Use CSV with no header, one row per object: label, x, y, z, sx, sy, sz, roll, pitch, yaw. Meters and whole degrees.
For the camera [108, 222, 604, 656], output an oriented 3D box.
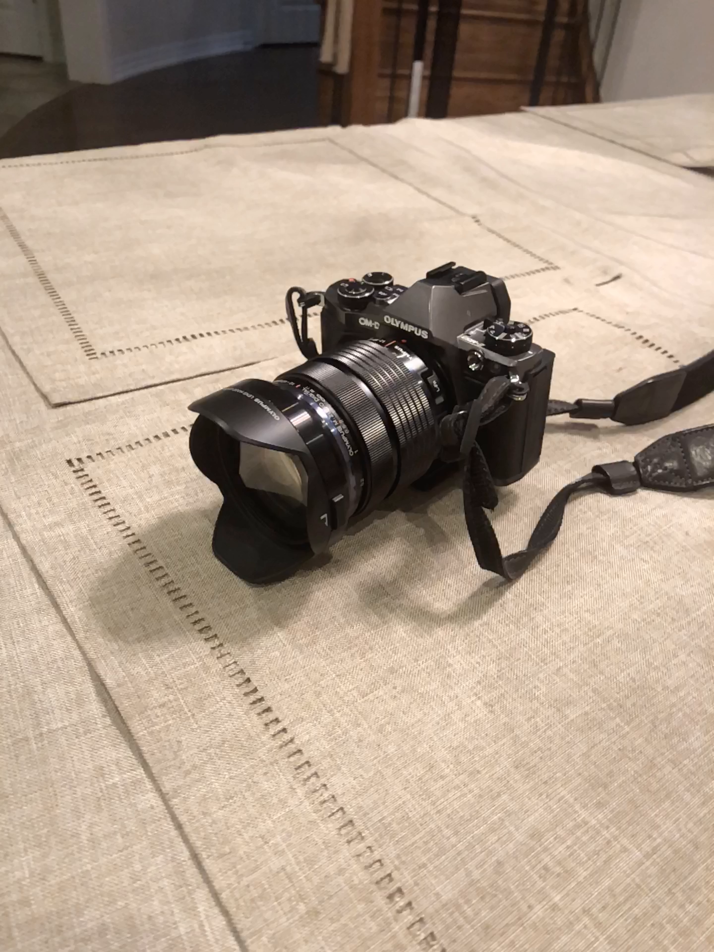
camera,0.003,-0.032,0.347,0.125,0.092,0.165,30,42,29
